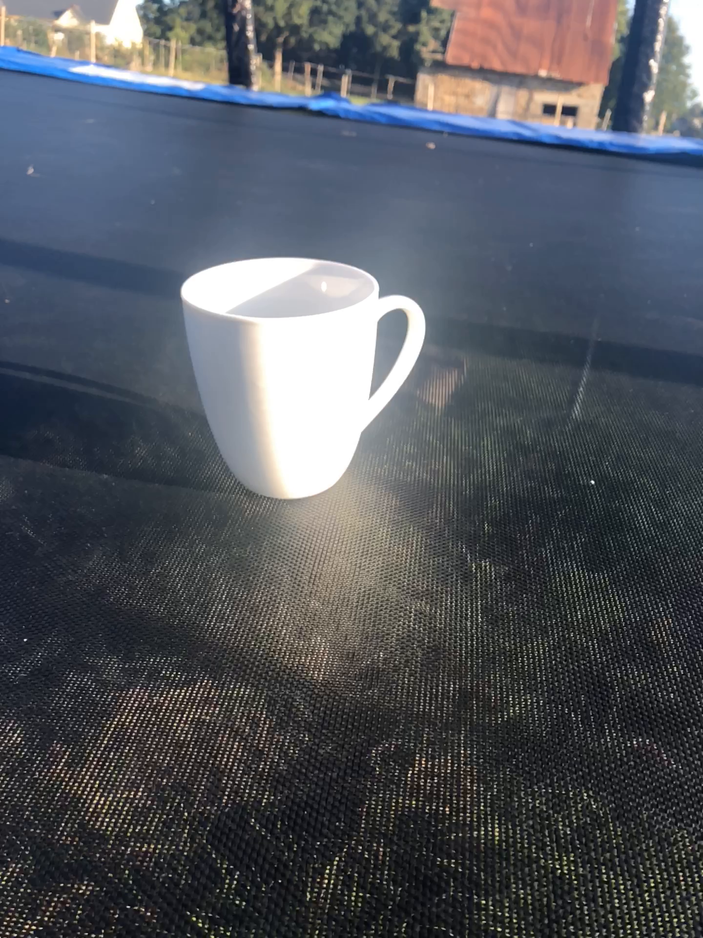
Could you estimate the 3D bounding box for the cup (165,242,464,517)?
[{"bbox_3d":[-0.023,-0.051,0.387,0.110,0.089,0.100,-11,34,-23],"label":"cup"}]
